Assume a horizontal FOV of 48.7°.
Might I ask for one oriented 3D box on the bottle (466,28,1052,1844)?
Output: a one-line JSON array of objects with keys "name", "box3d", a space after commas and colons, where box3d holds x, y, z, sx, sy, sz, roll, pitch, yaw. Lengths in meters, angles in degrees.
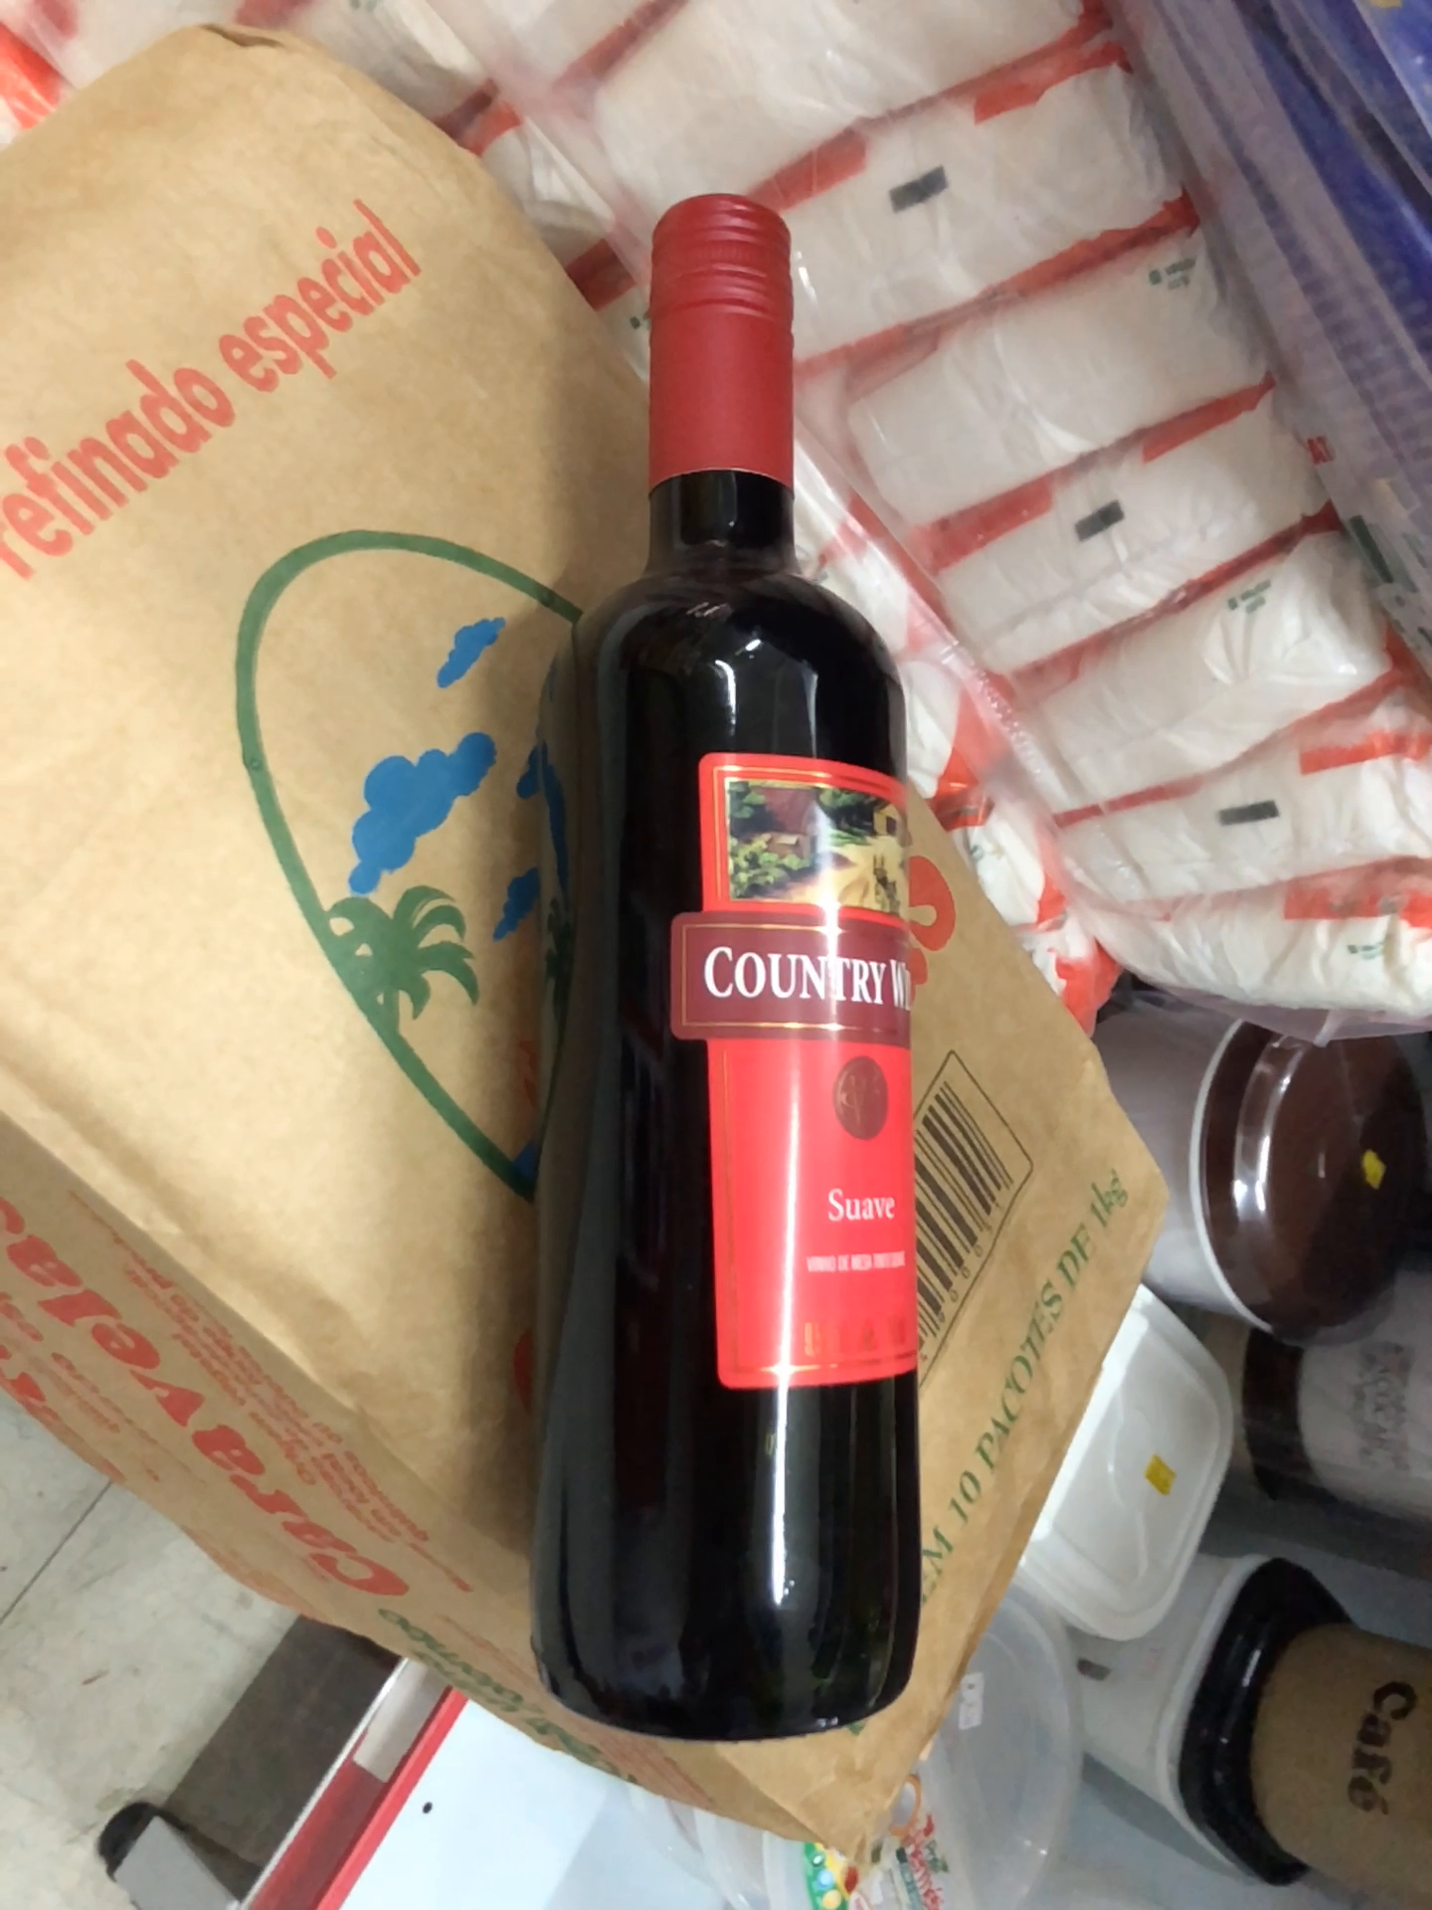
[{"name": "bottle", "box3d": [0.010, -0.004, 0.300, 0.080, 0.060, 0.290, 5, 86, -37]}]
